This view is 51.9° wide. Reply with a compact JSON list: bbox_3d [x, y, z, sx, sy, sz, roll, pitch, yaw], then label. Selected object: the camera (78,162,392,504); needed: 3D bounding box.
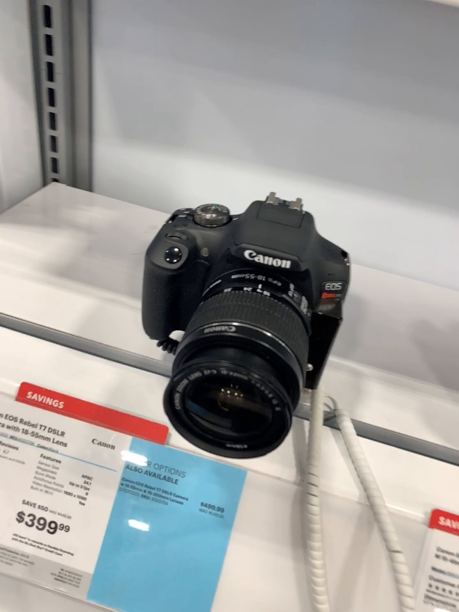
[{"bbox_3d":[0.009,0.003,0.267,0.125,0.099,0.141,15,37,6],"label":"camera"}]
